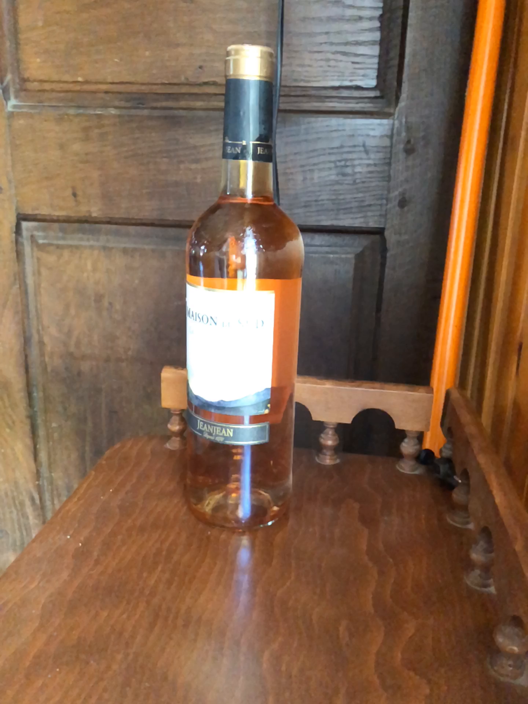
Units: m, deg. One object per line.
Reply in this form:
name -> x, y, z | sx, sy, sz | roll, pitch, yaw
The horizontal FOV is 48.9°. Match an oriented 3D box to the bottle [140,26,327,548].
bottle -> -0.018, -0.032, 0.364 | 0.080, 0.289, 0.070 | 9, 19, 24
